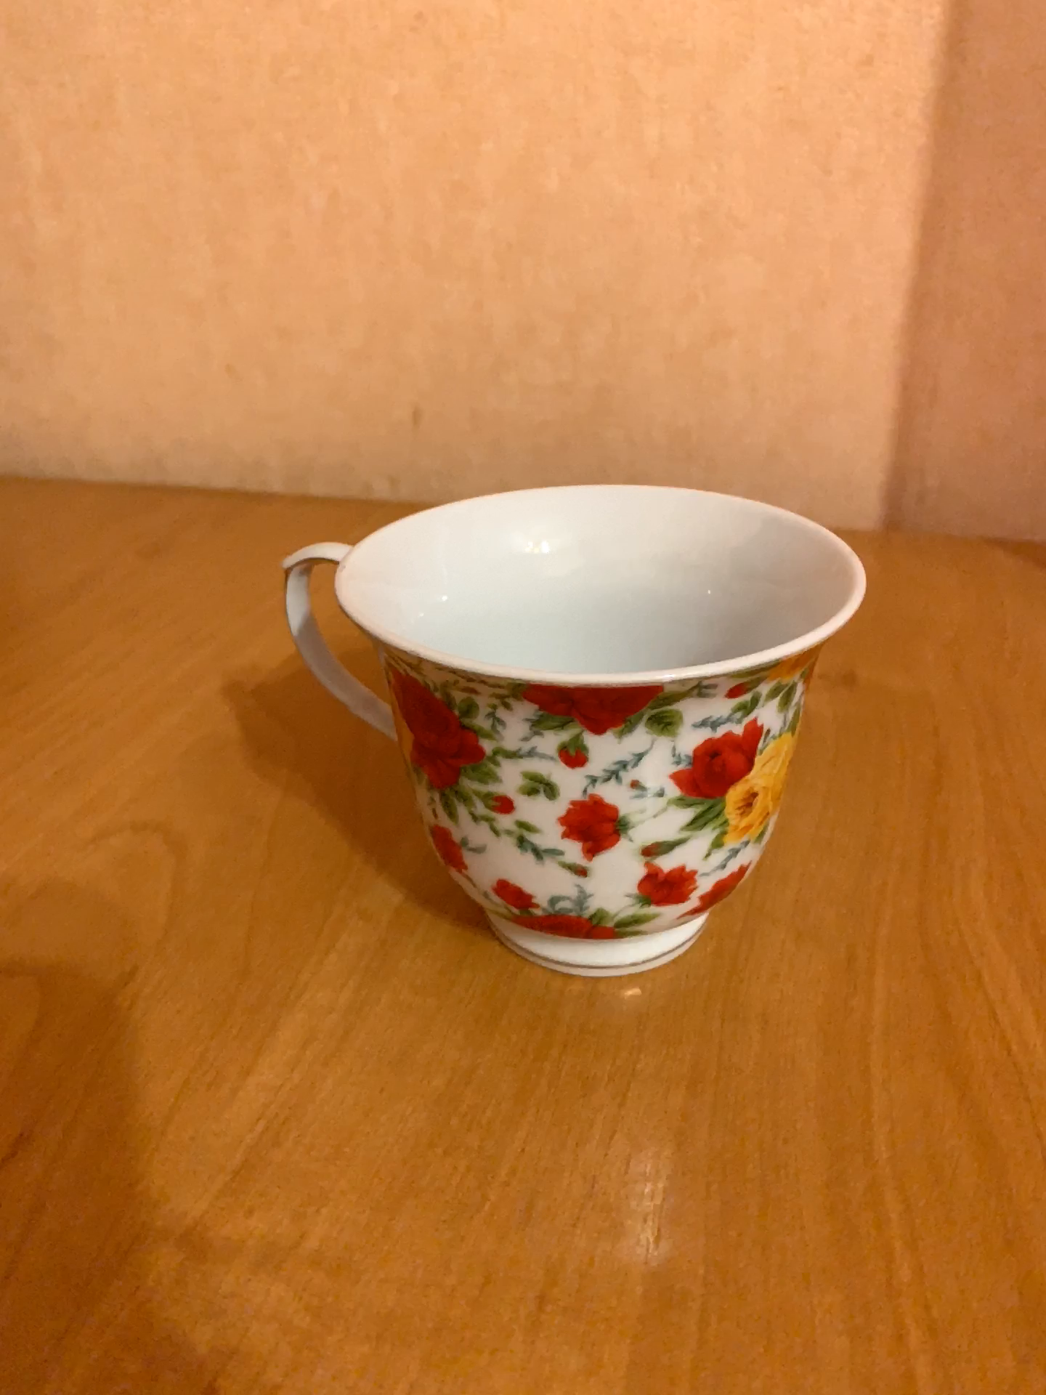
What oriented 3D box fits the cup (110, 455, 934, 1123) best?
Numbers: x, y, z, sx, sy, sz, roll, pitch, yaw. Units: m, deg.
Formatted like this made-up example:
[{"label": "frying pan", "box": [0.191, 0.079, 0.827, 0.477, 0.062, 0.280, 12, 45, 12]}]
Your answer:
[{"label": "cup", "box": [0.007, 0.003, 0.216, 0.120, 0.067, 0.100, 11, 30, 24]}]
